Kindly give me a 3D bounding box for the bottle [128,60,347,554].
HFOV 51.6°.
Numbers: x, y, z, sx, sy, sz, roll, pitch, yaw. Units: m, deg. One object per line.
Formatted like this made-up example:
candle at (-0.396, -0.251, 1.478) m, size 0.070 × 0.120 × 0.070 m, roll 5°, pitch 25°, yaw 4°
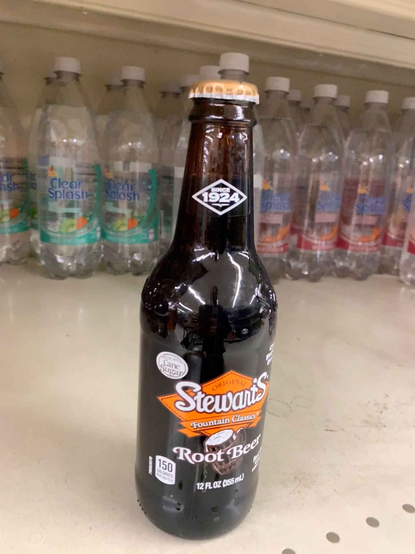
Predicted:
bottle at (0.002, 0.021, 0.202) m, size 0.070 × 0.207 × 0.060 m, roll -1°, pitch 17°, yaw -15°
